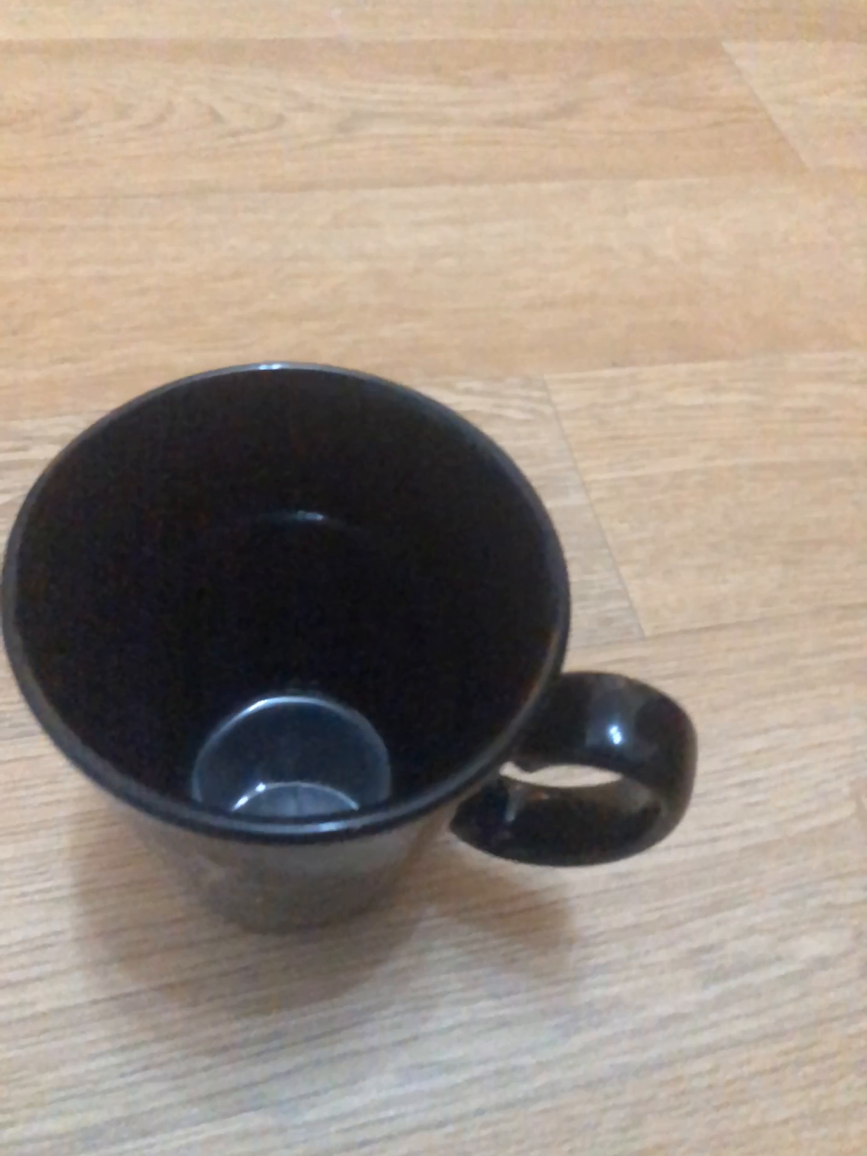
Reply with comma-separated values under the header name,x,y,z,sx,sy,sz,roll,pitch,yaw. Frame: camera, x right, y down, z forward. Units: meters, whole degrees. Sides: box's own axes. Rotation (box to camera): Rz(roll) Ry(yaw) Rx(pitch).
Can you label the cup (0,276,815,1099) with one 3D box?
name,x,y,z,sx,sy,sz,roll,pitch,yaw
cup,-0.010,0.024,0.181,0.120,0.090,0.090,18,56,4
